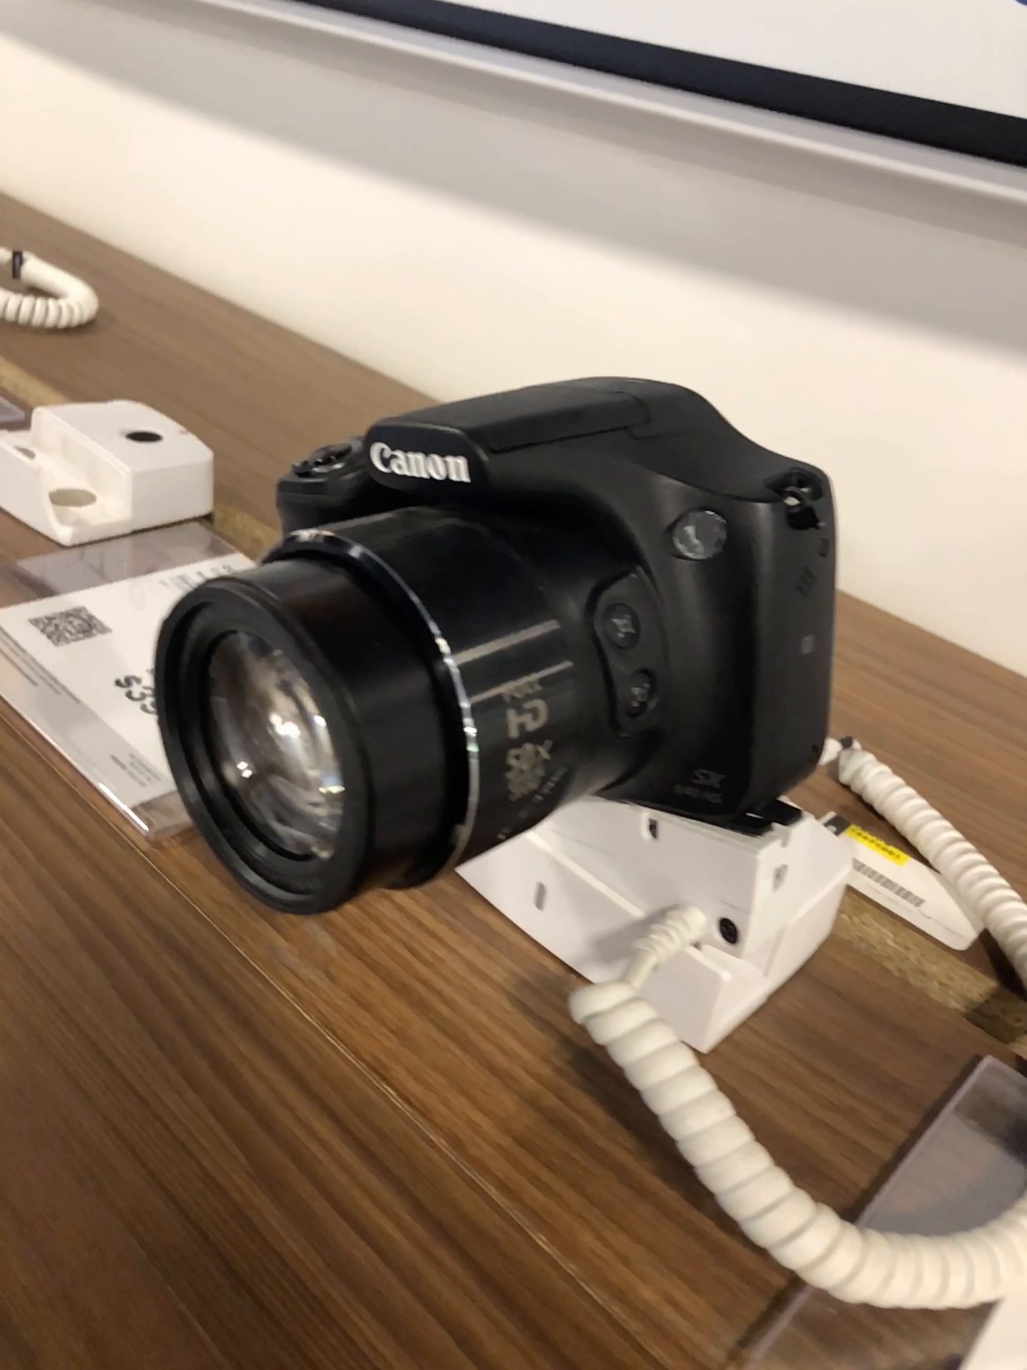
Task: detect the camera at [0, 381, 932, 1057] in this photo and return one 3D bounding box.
[{"bbox_3d":[-0.009,-0.016,0.231,0.130,0.070,0.140,14,26,38],"label":"camera"}]
